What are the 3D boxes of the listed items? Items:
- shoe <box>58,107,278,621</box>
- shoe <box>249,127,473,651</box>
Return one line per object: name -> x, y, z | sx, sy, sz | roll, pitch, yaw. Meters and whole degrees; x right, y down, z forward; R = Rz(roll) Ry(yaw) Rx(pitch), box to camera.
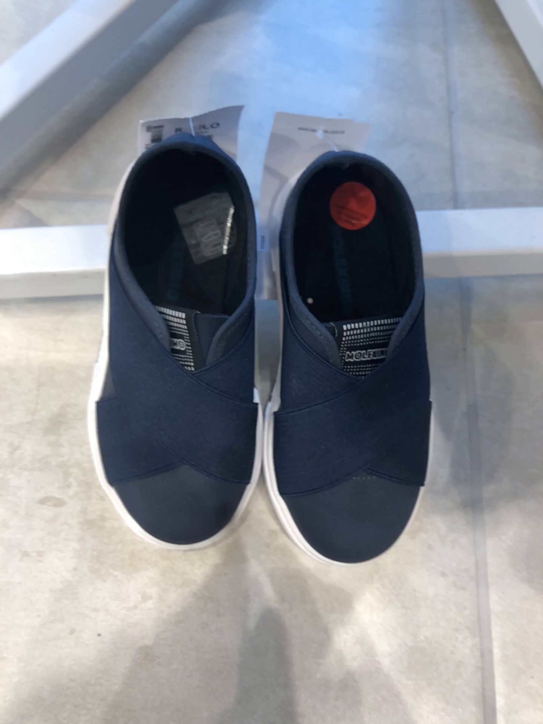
shoe -> -0.038, 0.001, 0.248 | 0.070, 0.070, 0.180 | -1, 101, -7
shoe -> 0.030, 0.009, 0.242 | 0.070, 0.070, 0.180 | -3, 100, -2
